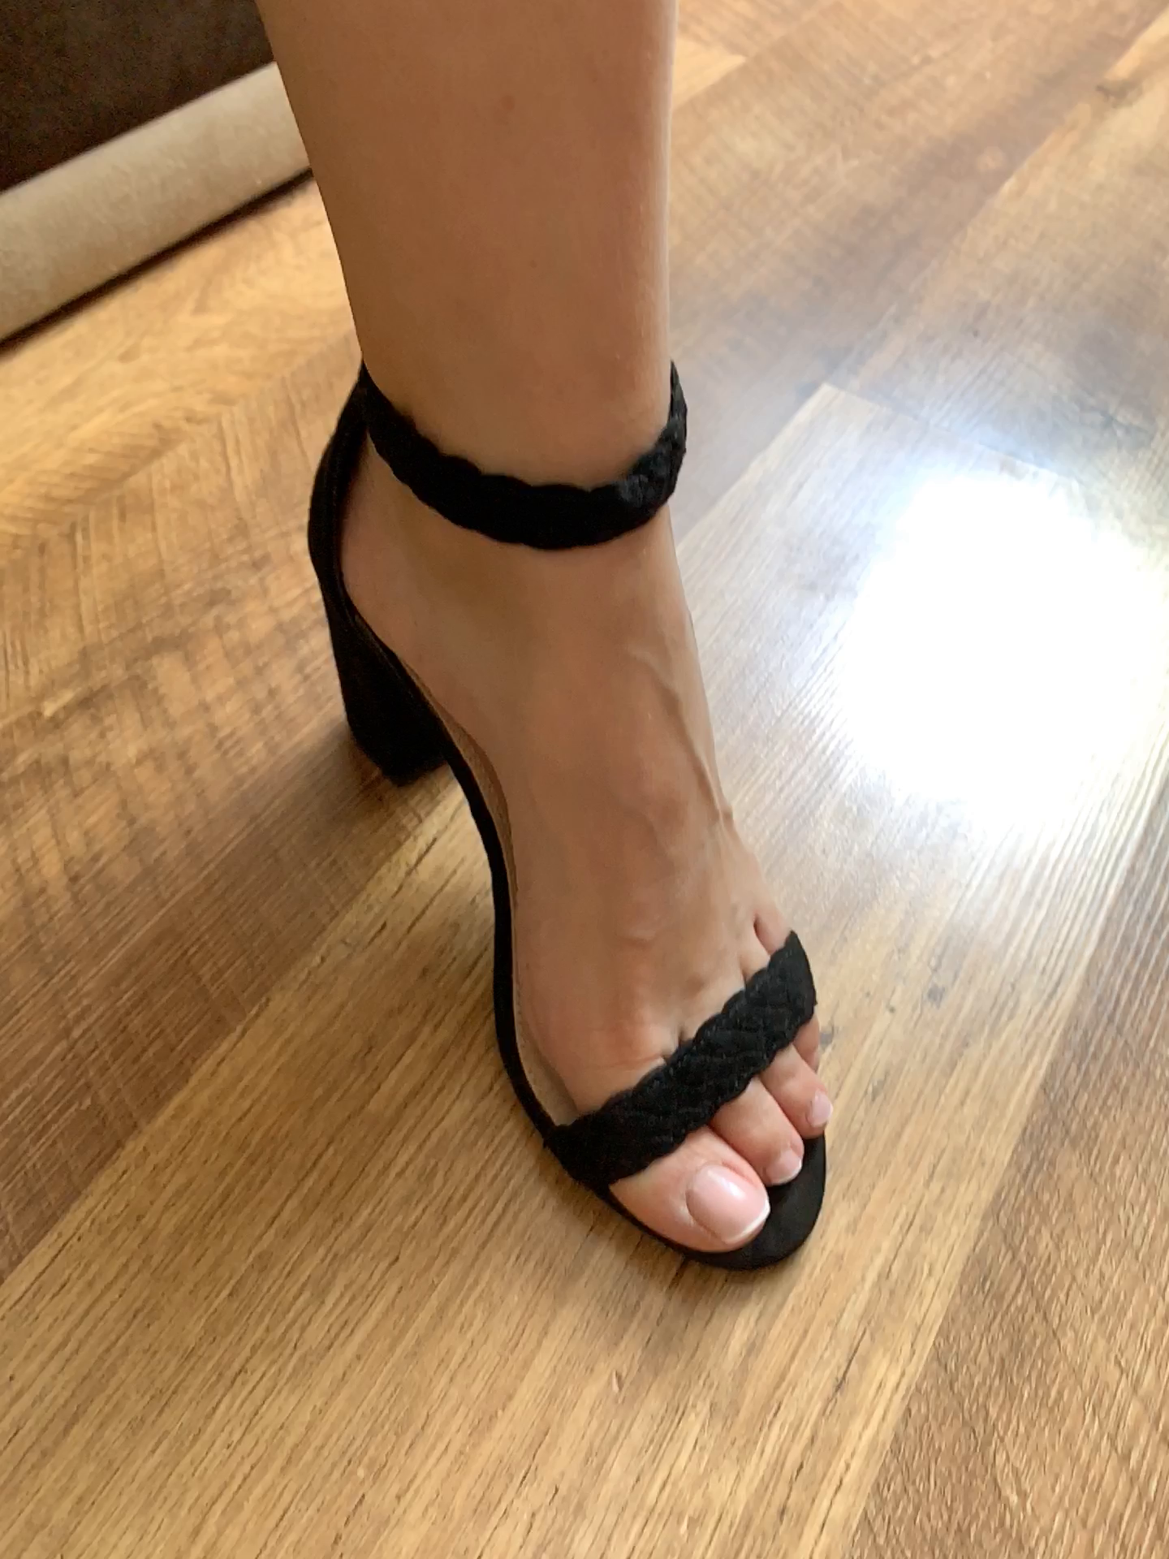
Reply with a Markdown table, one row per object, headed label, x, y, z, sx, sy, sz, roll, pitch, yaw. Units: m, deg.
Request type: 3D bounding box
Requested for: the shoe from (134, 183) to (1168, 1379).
| label | x | y | z | sx | sy | sz | roll | pitch | yaw |
| --- | --- | --- | --- | --- | --- | --- | --- | --- | --- |
| shoe | -0.007 | -0.008 | 0.289 | 0.090 | 0.149 | 0.231 | -24 | 57 | -21 |
